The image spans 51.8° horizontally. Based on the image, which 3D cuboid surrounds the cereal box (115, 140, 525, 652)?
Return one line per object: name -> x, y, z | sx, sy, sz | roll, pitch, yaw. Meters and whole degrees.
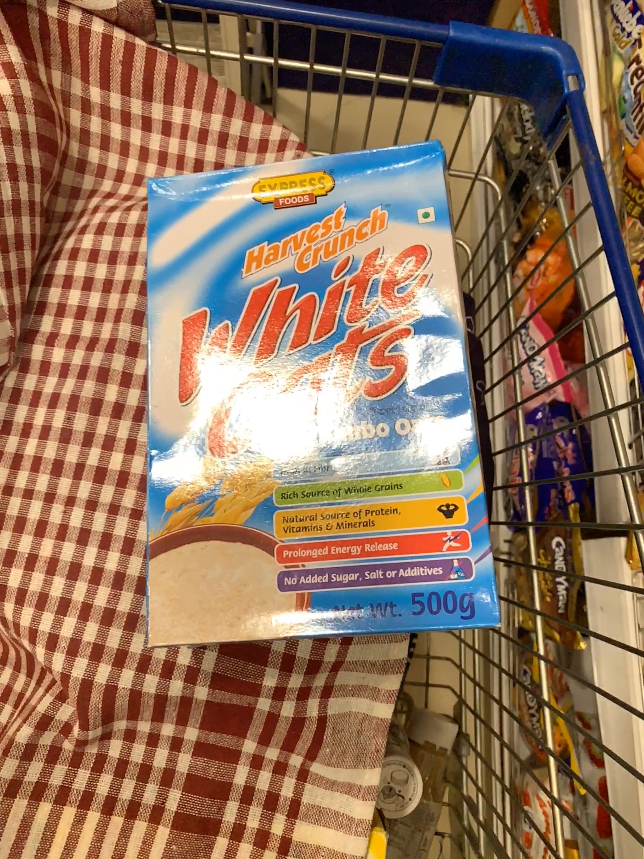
cereal box -> -0.006, -0.013, 0.294 | 0.150, 0.060, 0.200 | -5, 76, 4
